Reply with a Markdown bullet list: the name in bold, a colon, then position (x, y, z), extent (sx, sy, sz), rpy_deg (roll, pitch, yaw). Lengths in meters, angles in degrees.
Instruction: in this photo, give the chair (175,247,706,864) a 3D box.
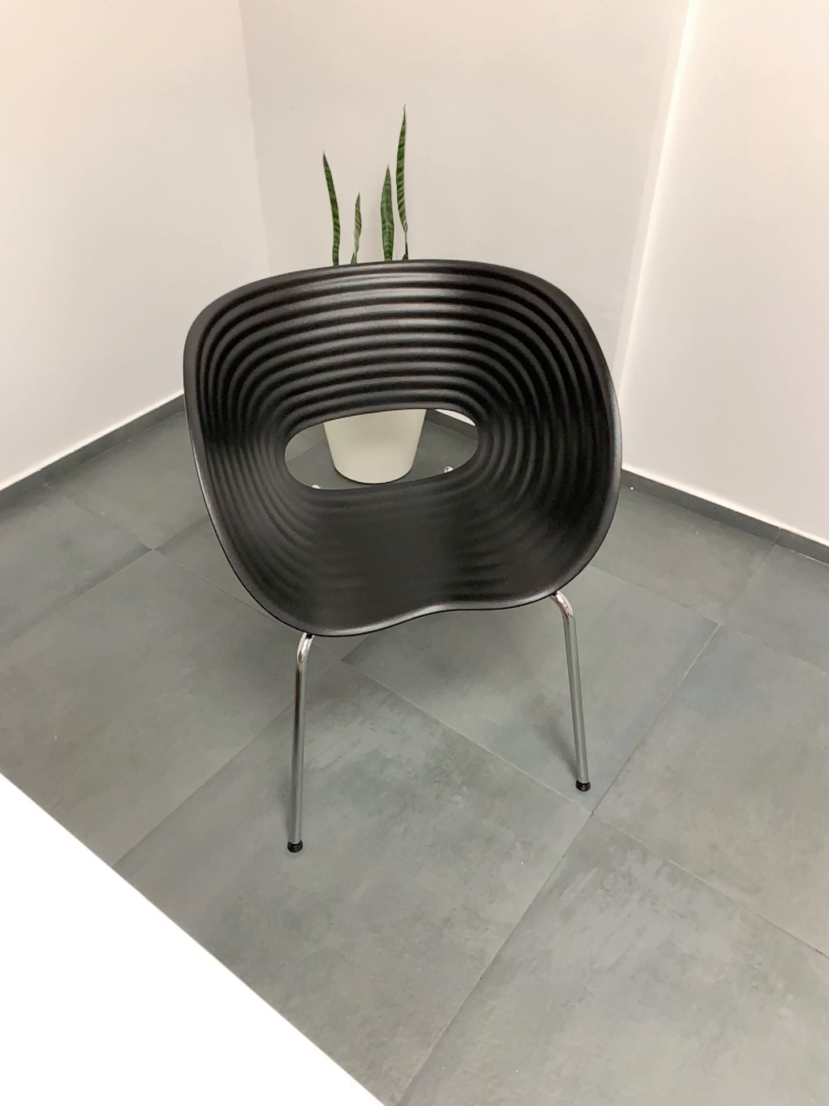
- **chair**: position (-0.020, -0.010, 1.521), extent (0.650, 0.796, 0.643), rpy_deg (-8, 41, -11)
